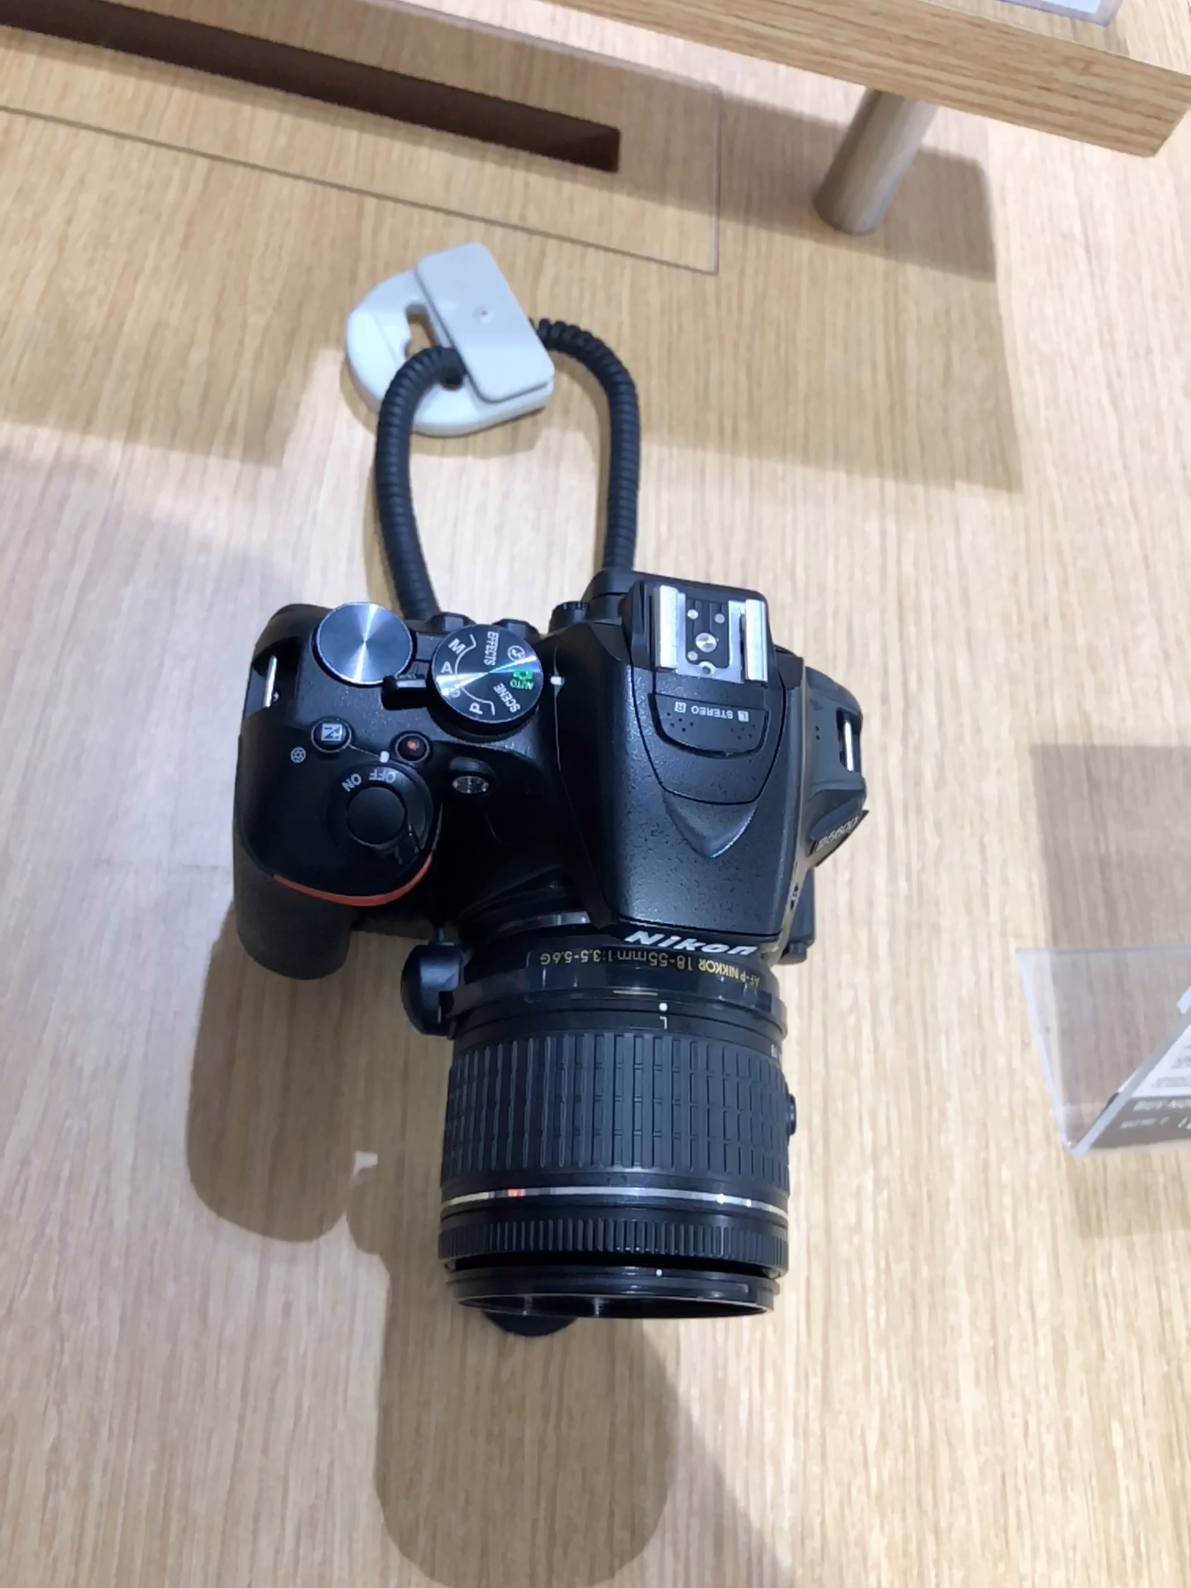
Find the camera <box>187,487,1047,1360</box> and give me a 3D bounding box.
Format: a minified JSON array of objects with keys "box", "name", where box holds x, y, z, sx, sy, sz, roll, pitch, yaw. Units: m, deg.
[{"box":[-0.001,0.028,0.239,0.120,0.070,0.130,6,63,-12],"name":"camera"}]
